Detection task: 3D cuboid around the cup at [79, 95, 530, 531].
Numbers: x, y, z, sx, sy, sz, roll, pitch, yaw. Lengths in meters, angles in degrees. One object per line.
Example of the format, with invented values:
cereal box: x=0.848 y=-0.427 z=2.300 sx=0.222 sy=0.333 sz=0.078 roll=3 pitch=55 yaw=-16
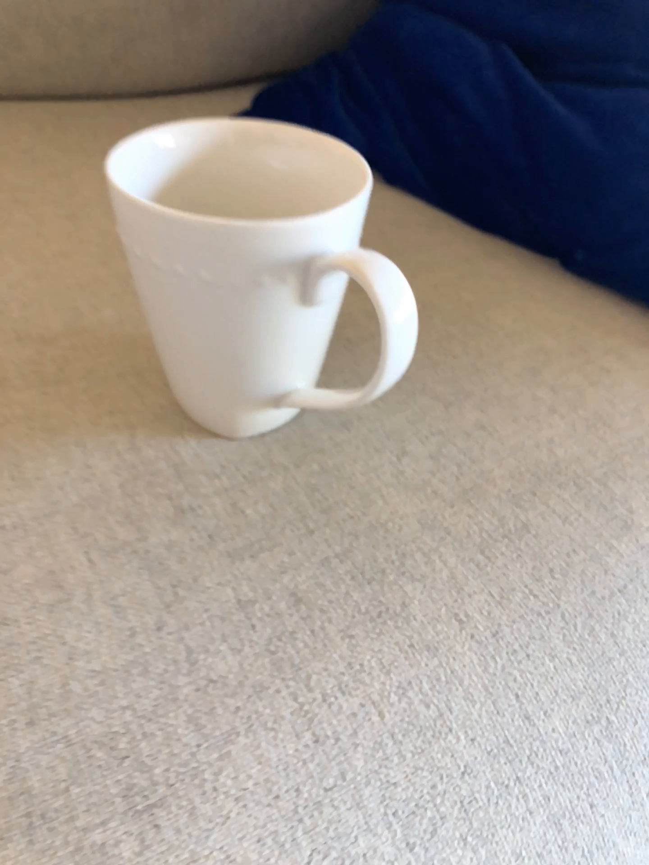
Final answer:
cup: x=-0.016 y=-0.055 z=0.283 sx=0.100 sy=0.090 sz=0.130 roll=-21 pitch=52 yaw=-30
